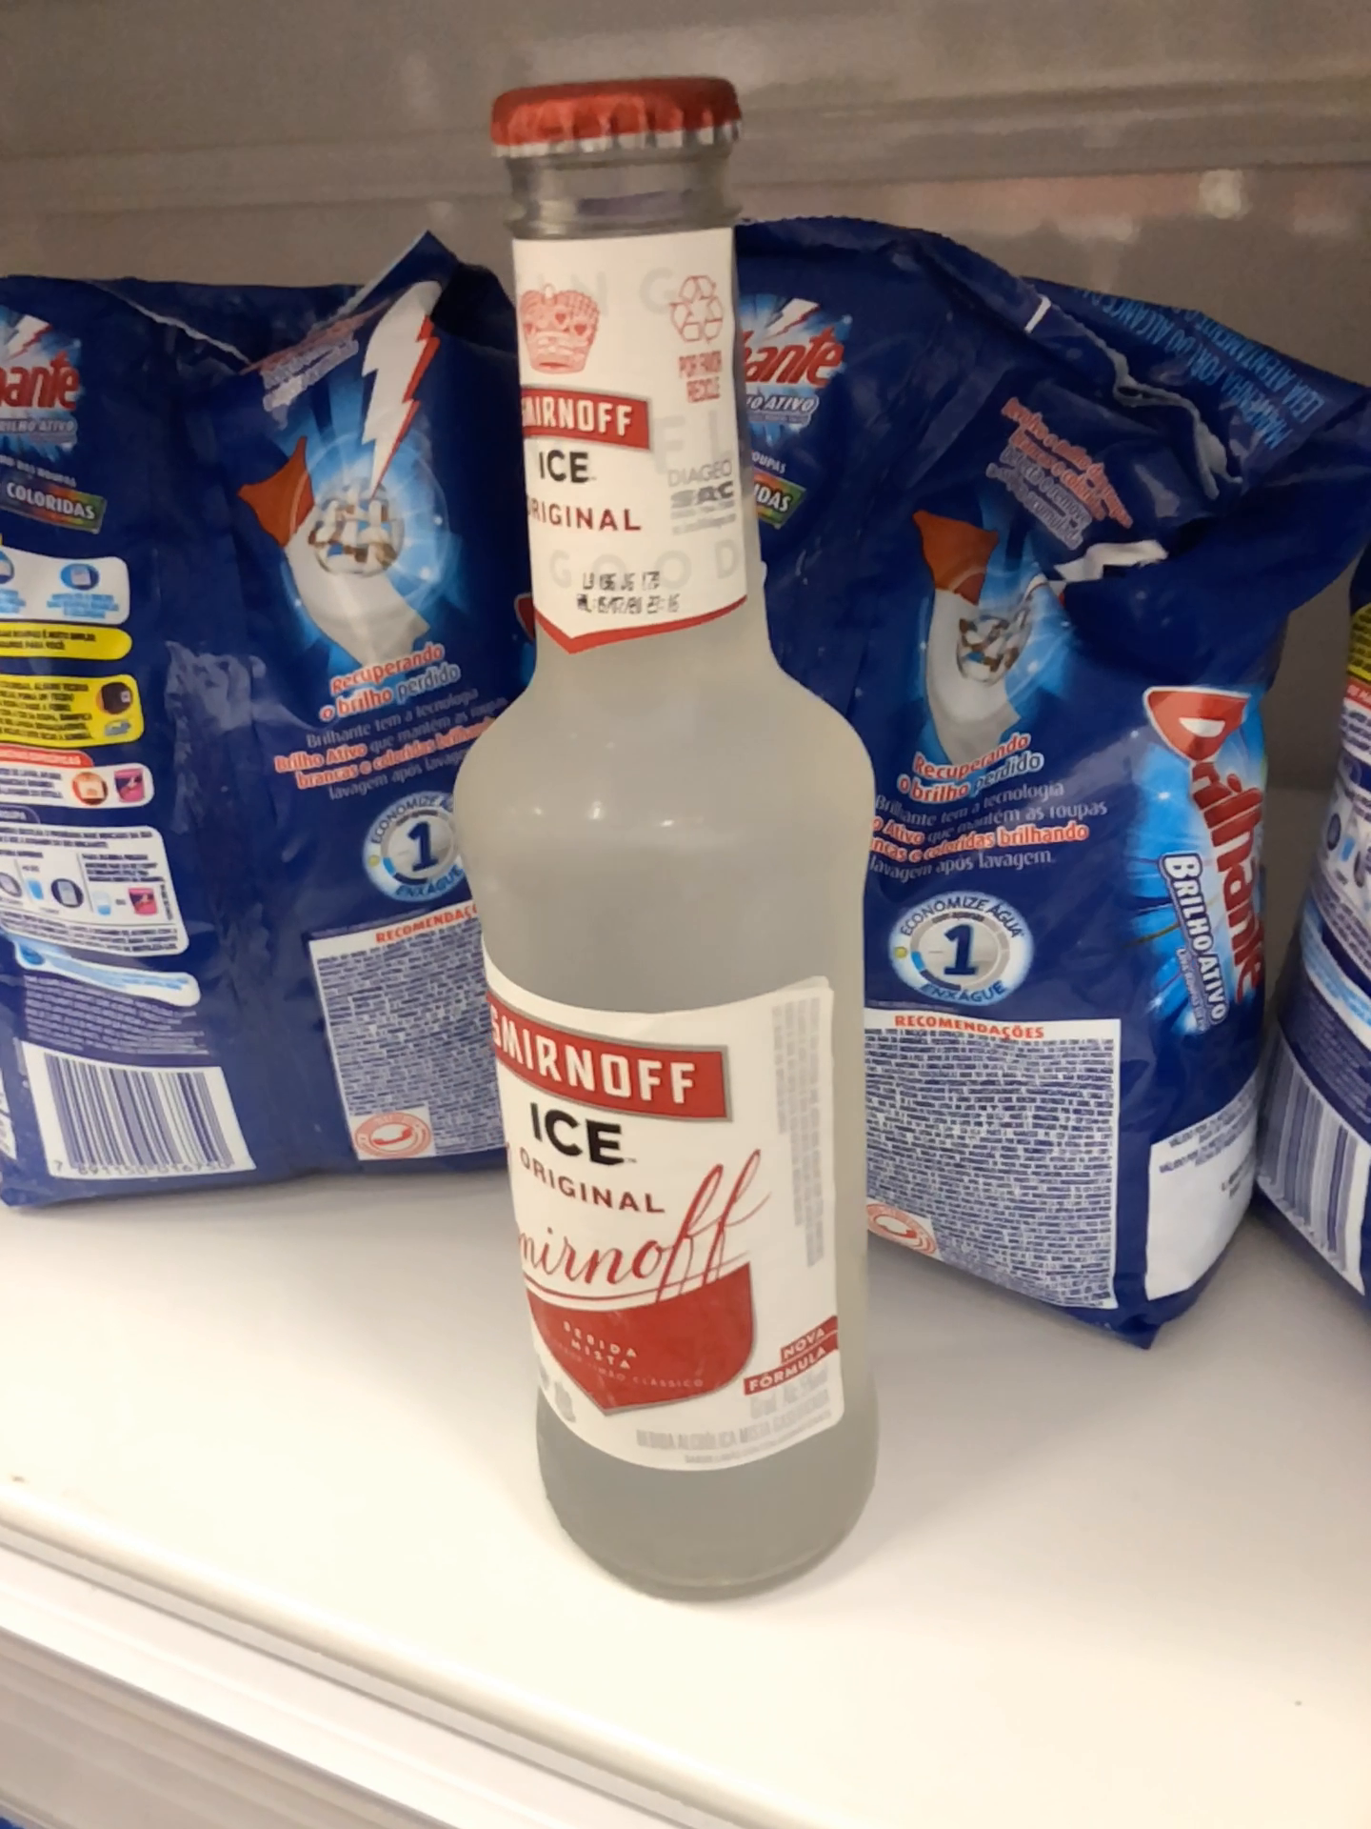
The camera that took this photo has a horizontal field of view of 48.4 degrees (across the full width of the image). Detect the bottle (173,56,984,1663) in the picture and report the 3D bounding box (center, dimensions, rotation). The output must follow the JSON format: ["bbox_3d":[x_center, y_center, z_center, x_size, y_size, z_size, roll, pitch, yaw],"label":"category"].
[{"bbox_3d":[-0.006,-0.002,0.220,0.070,0.208,0.060,14,31,30],"label":"bottle"}]
